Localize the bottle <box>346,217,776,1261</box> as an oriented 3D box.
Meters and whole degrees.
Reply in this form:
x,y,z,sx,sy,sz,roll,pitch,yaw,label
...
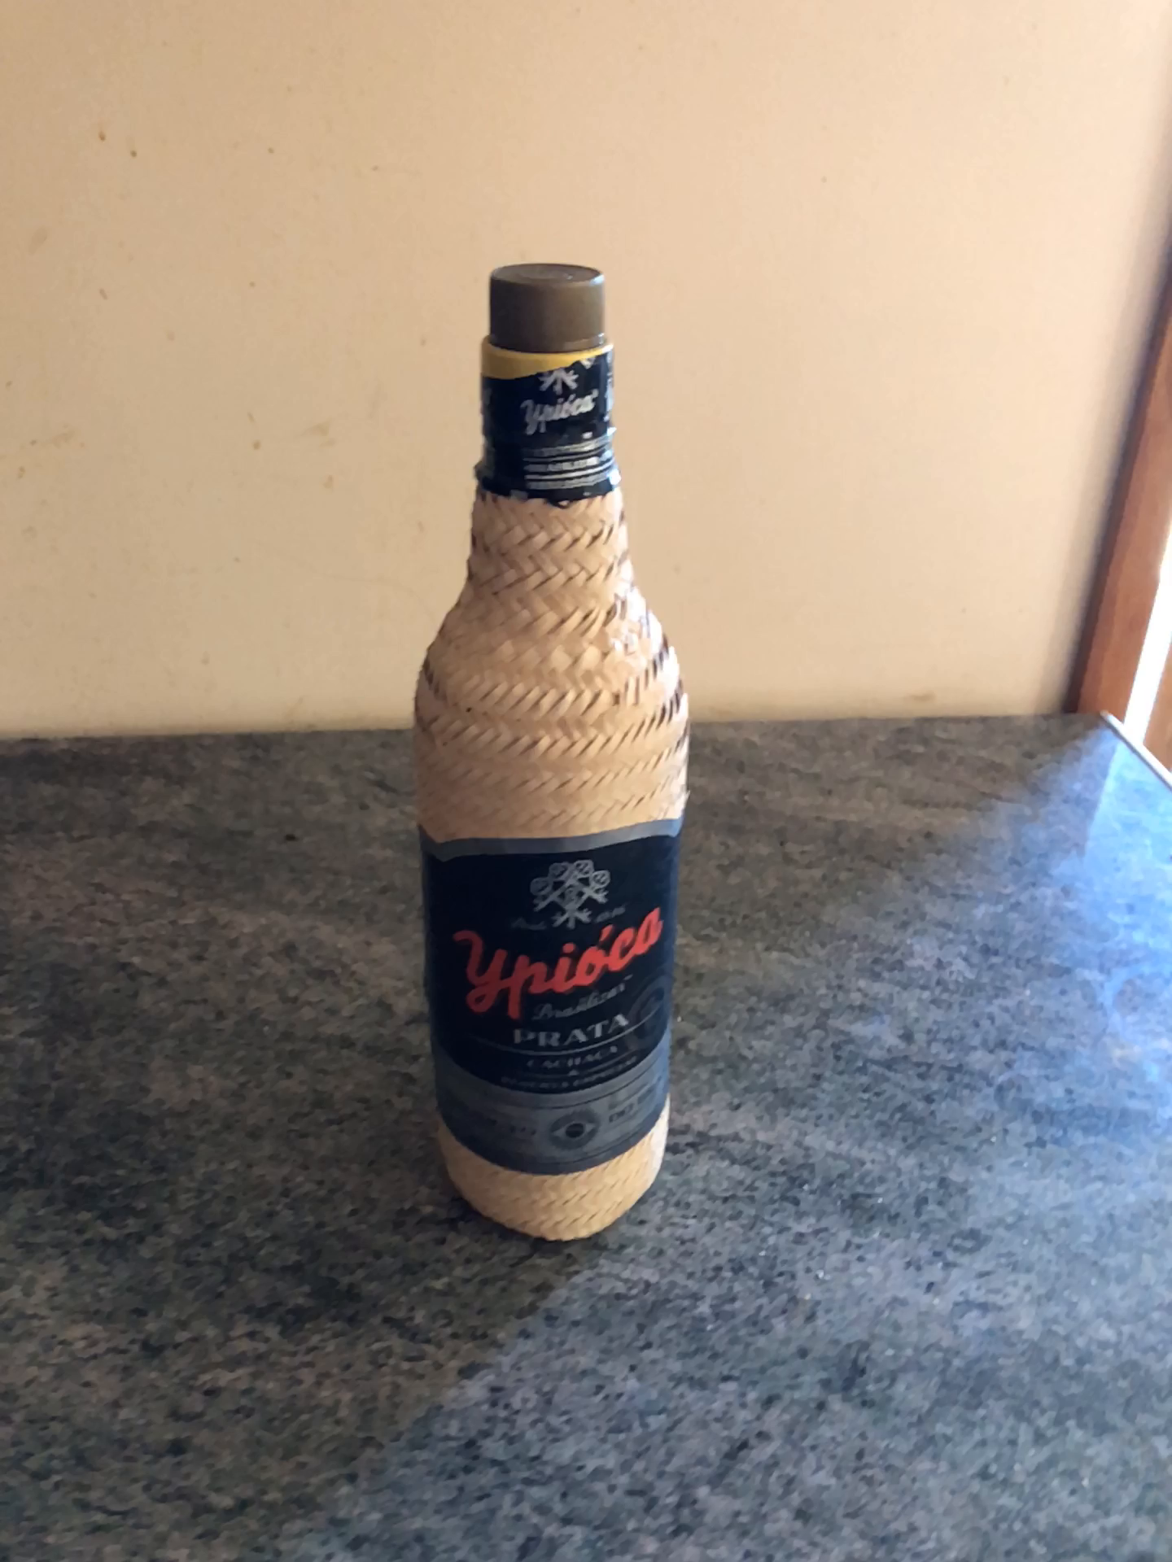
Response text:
x,y,z,sx,sy,sz,roll,pitch,yaw,label
-0.016,0.001,0.371,0.090,0.288,0.080,0,28,-7,bottle
